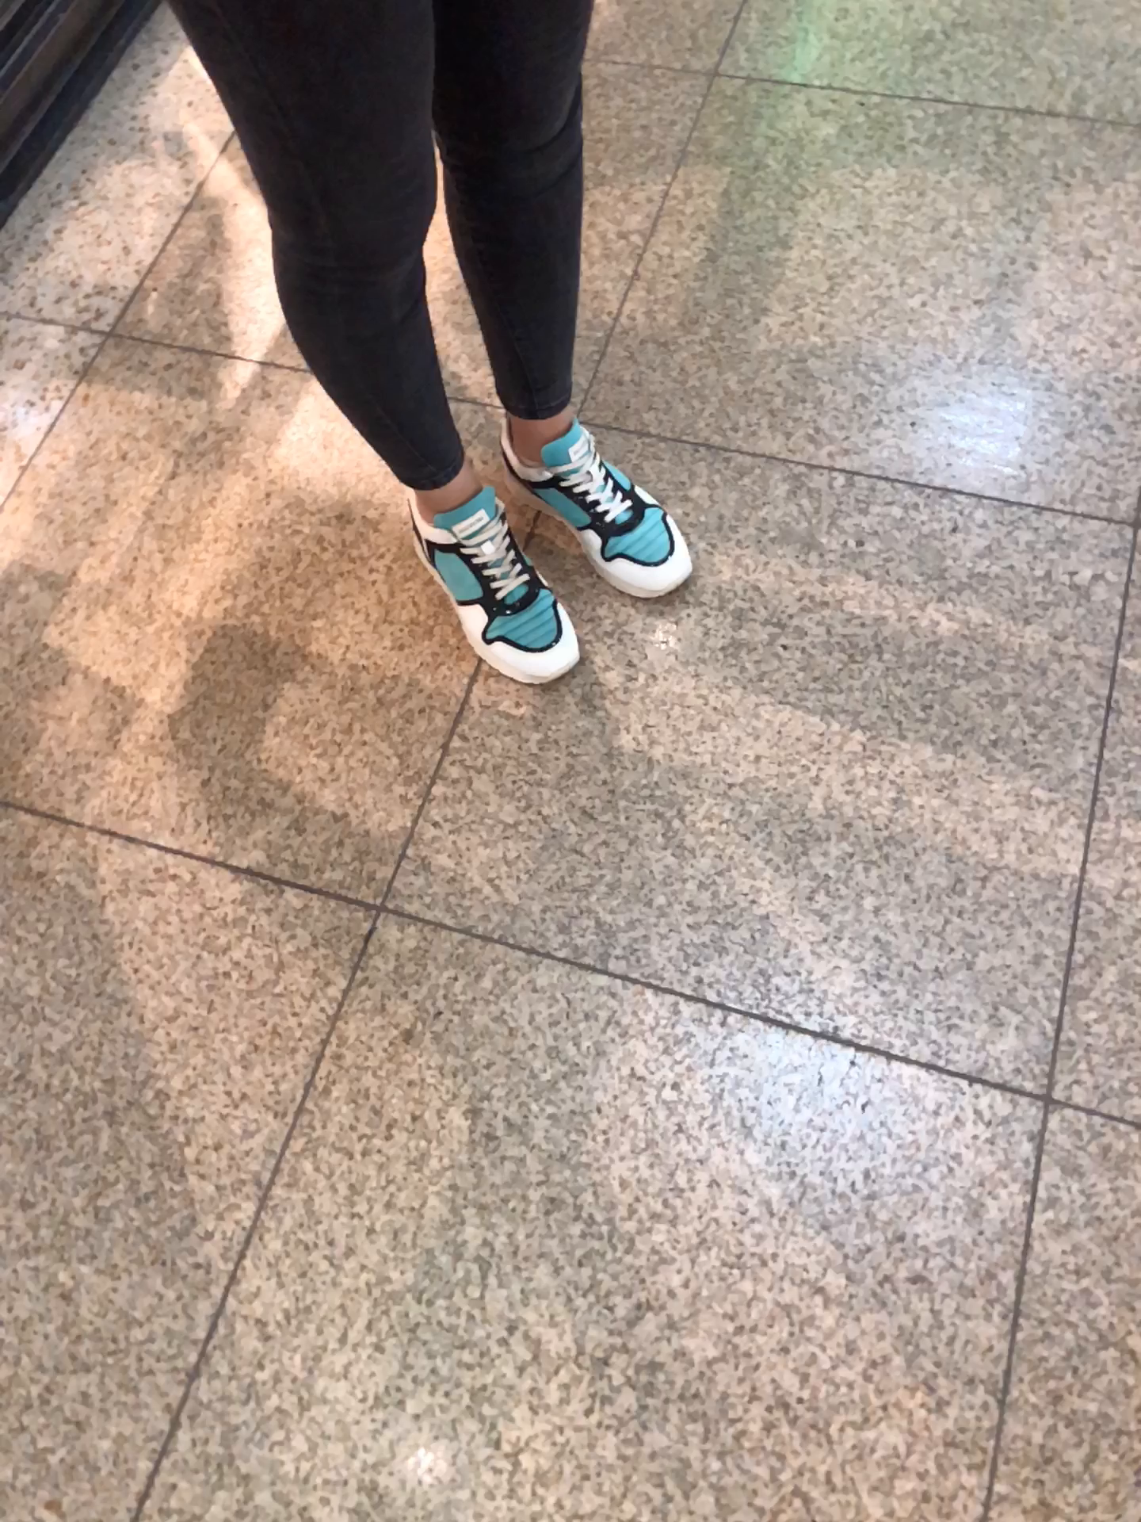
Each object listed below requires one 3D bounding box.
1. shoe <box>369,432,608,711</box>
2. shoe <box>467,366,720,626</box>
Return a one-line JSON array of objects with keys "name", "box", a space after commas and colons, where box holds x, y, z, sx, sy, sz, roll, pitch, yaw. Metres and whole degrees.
[{"name": "shoe", "box": [-0.080, -0.188, 1.230, 0.100, 0.120, 0.240, -35, 65, -11]}, {"name": "shoe", "box": [0.025, -0.265, 1.248, 0.240, 0.120, 0.100, 40, 73, 22]}]
